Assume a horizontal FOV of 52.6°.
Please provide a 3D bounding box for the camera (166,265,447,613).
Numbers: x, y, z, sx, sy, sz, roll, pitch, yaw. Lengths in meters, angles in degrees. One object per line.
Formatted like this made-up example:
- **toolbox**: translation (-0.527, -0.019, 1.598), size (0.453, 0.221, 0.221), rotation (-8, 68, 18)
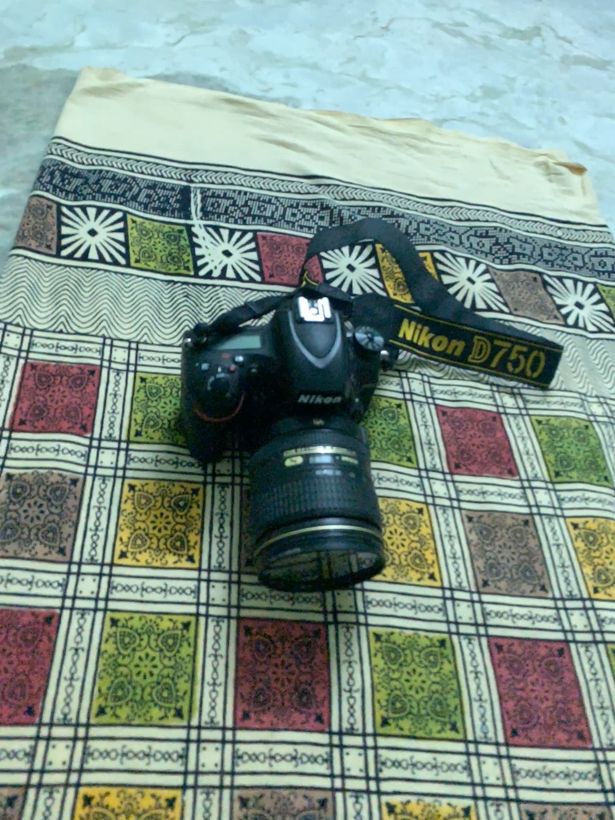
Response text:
- **camera**: translation (-0.016, 0.014, 0.397), size (0.140, 0.100, 0.190), rotation (0, 55, -11)
